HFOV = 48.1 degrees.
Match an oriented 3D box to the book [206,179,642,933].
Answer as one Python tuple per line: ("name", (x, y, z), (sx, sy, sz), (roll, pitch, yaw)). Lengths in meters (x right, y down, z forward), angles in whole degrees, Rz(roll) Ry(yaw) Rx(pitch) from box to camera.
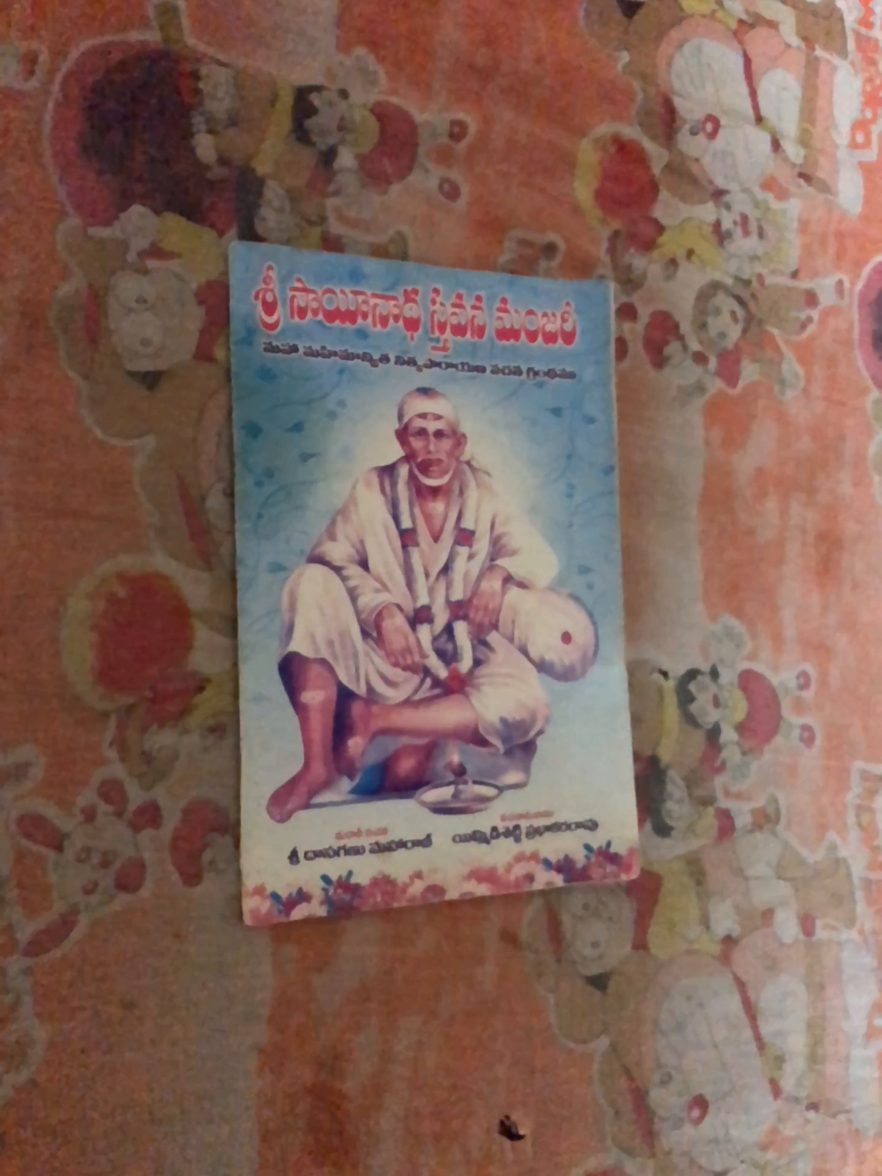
("book", (-0.004, -0.011, 0.323), (0.140, 0.020, 0.220), (1, 85, -23))
